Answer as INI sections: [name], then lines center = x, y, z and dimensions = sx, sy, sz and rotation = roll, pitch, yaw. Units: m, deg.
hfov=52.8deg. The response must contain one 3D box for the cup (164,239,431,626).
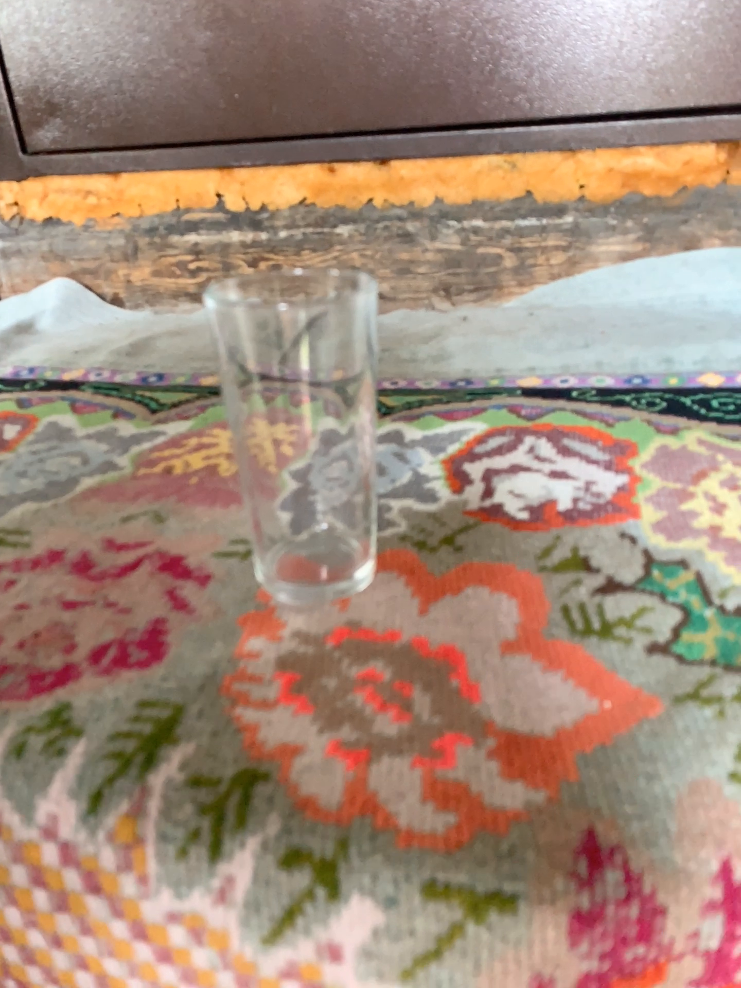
[cup]
center = -0.021, -0.026, 0.274
dimensions = 0.060, 0.119, 0.060
rotation = -4, 26, 2
